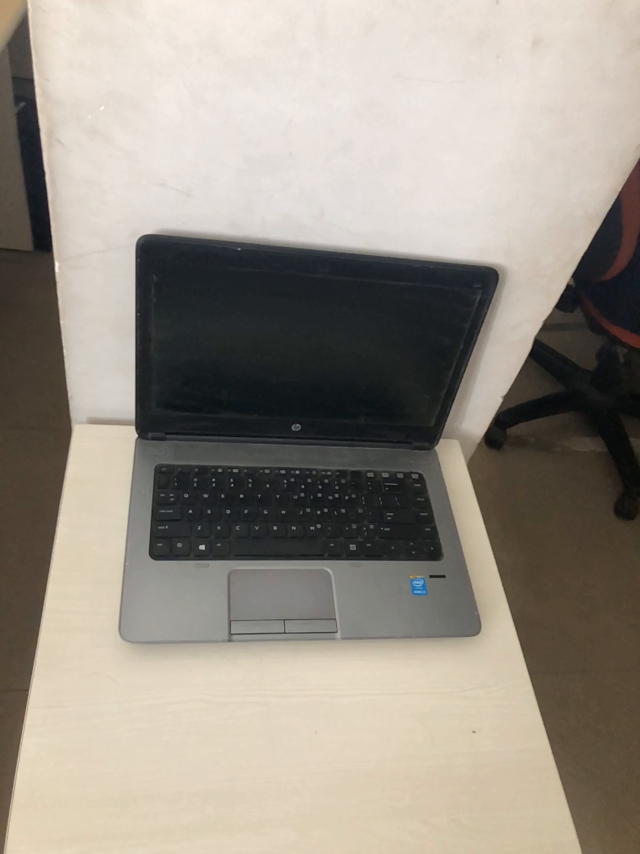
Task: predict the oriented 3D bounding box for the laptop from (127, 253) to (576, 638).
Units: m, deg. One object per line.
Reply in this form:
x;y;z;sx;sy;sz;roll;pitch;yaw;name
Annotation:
0.004;0.022;0.613;0.304;0.209;0.238;3;49;-12;laptop
